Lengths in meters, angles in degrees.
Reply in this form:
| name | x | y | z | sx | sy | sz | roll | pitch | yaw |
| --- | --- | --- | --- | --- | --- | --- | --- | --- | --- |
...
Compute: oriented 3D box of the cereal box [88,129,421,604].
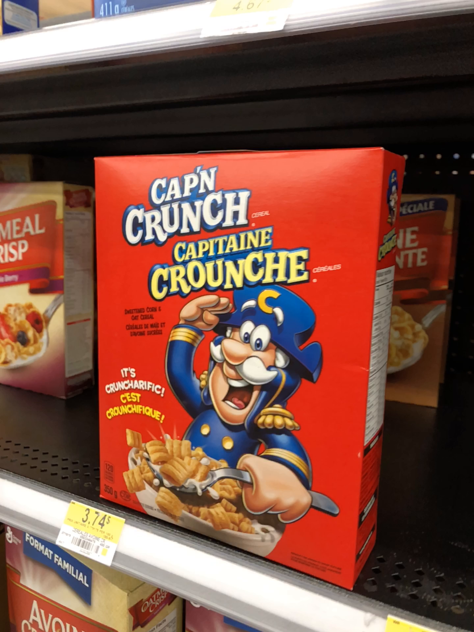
| name | x | y | z | sx | sy | sz | roll | pitch | yaw |
| --- | --- | --- | --- | --- | --- | --- | --- | --- | --- |
| cereal box | 0.000 | 0.022 | 0.378 | 0.220 | 0.279 | 0.060 | 7 | 12 | 29 |
